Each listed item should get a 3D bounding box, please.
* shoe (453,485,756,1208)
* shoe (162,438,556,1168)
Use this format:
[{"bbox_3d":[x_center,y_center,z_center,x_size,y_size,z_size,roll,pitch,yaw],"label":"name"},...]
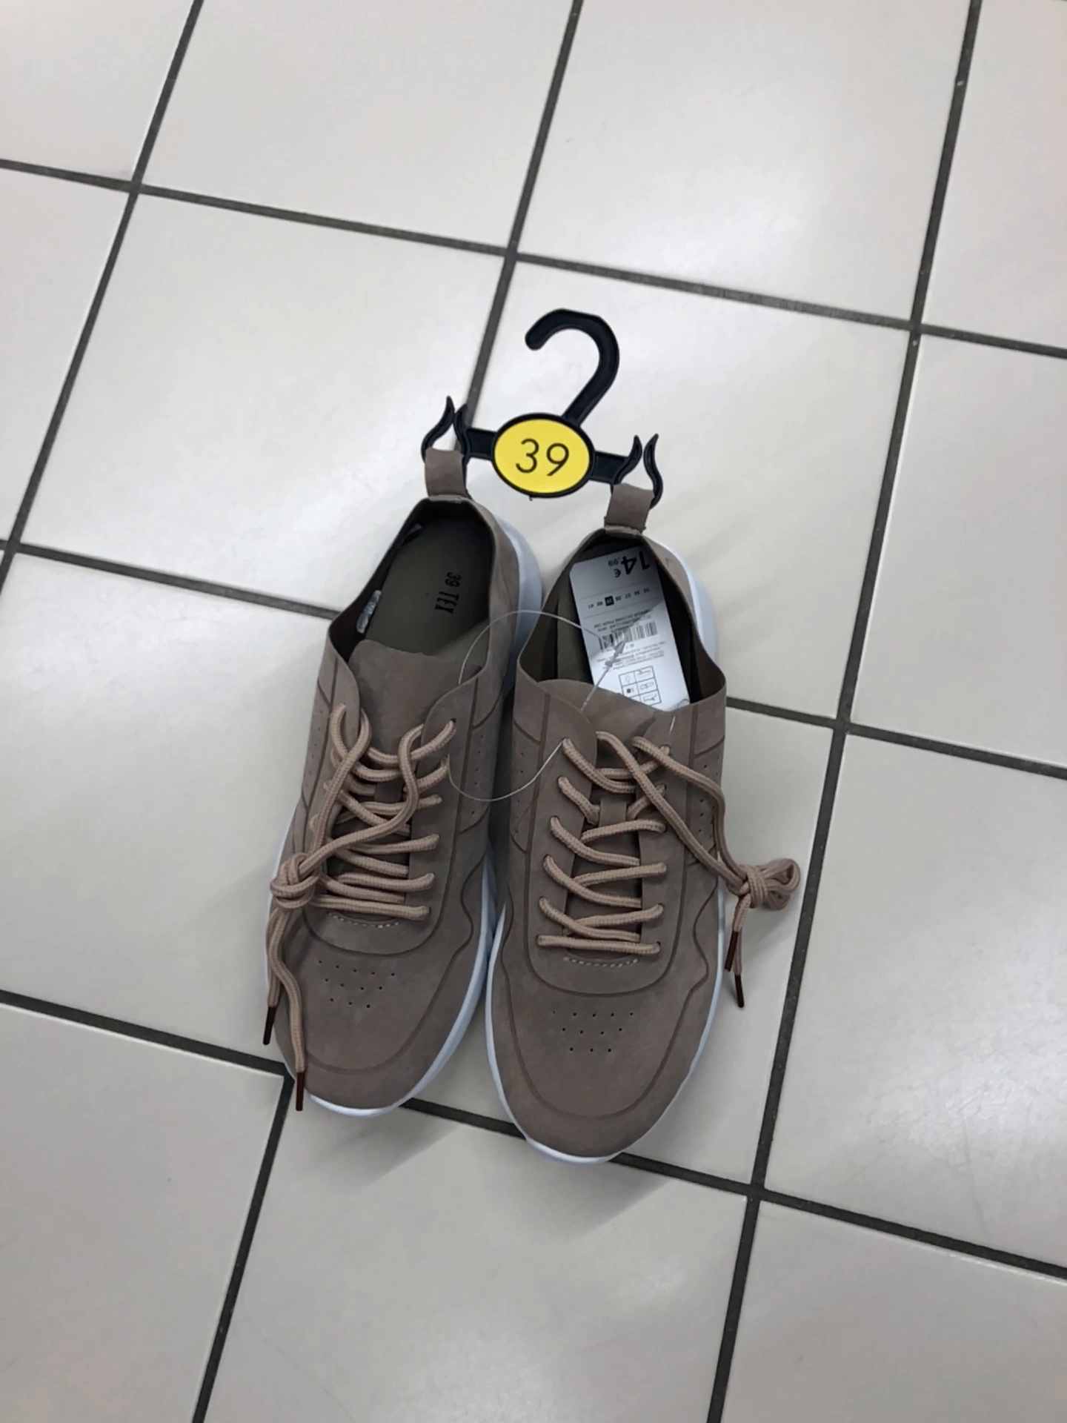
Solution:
[{"bbox_3d":[0.032,0.048,0.465,0.100,0.080,0.258,2,77,4],"label":"shoe"},{"bbox_3d":[-0.058,0.034,0.470,0.100,0.100,0.254,6,78,5],"label":"shoe"}]
